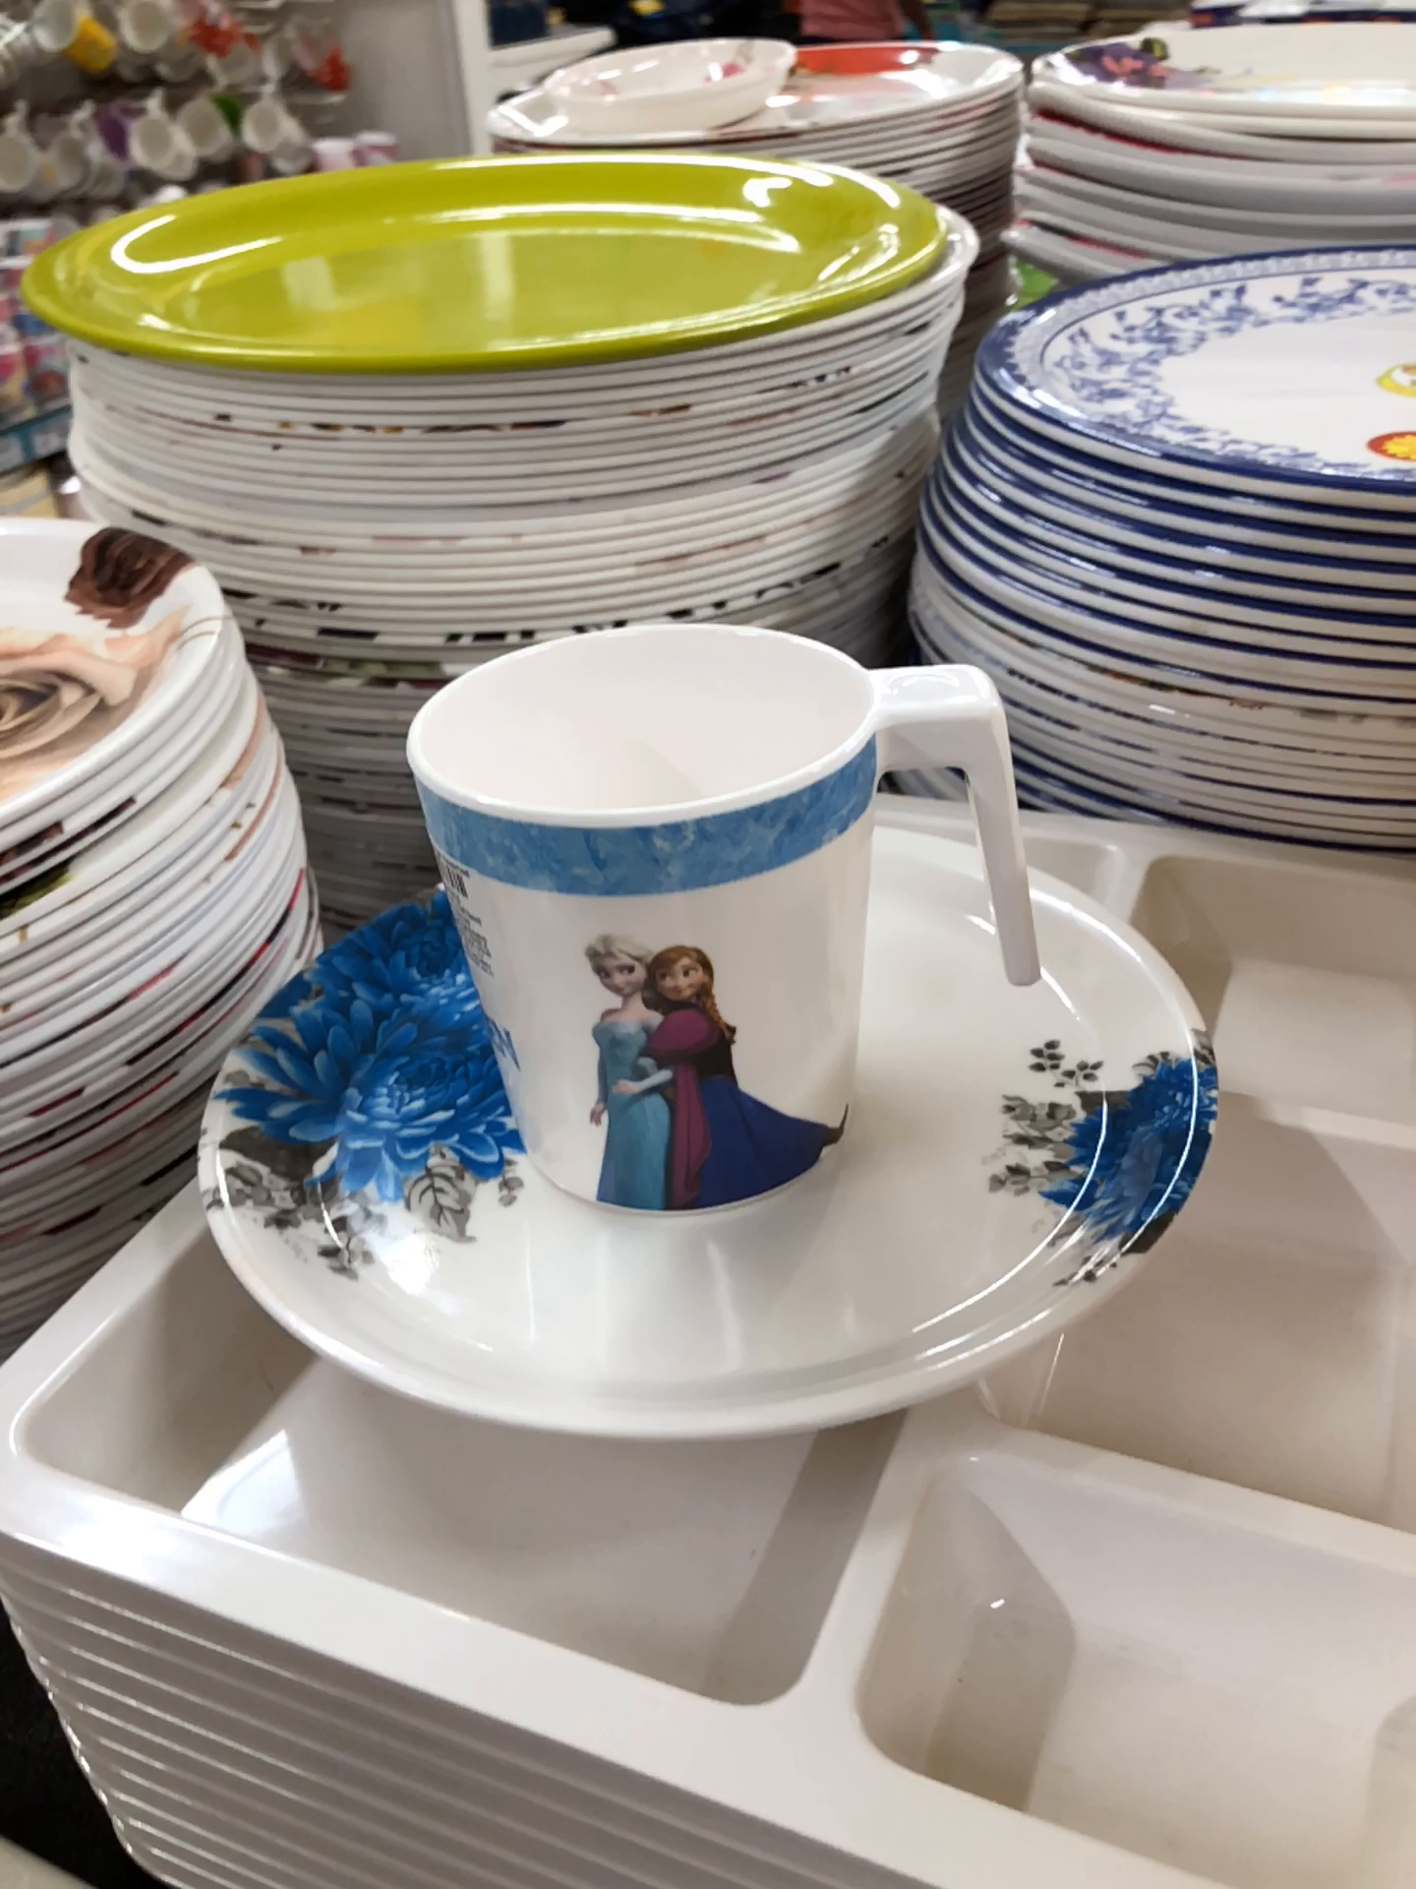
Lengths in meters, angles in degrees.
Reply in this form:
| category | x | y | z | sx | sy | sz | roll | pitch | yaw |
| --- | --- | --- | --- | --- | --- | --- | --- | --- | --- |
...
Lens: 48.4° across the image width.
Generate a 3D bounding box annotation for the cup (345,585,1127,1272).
| category | x | y | z | sx | sy | sz | roll | pitch | yaw |
| --- | --- | --- | --- | --- | --- | --- | --- | --- | --- |
| cup | 0.008 | -0.004 | 0.279 | 0.110 | 0.089 | 0.081 | -1 | 33 | 5 |
